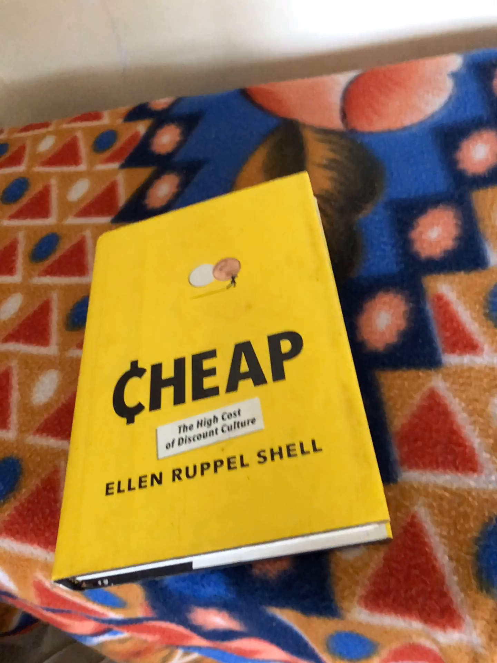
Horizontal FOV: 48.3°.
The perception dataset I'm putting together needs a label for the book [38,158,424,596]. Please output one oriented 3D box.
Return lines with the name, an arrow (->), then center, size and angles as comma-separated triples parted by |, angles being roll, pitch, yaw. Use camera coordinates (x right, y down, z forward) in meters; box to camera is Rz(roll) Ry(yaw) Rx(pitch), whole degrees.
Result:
book -> -0.019, 0.007, 0.320 | 0.170, 0.030, 0.241 | -13, 51, 9
